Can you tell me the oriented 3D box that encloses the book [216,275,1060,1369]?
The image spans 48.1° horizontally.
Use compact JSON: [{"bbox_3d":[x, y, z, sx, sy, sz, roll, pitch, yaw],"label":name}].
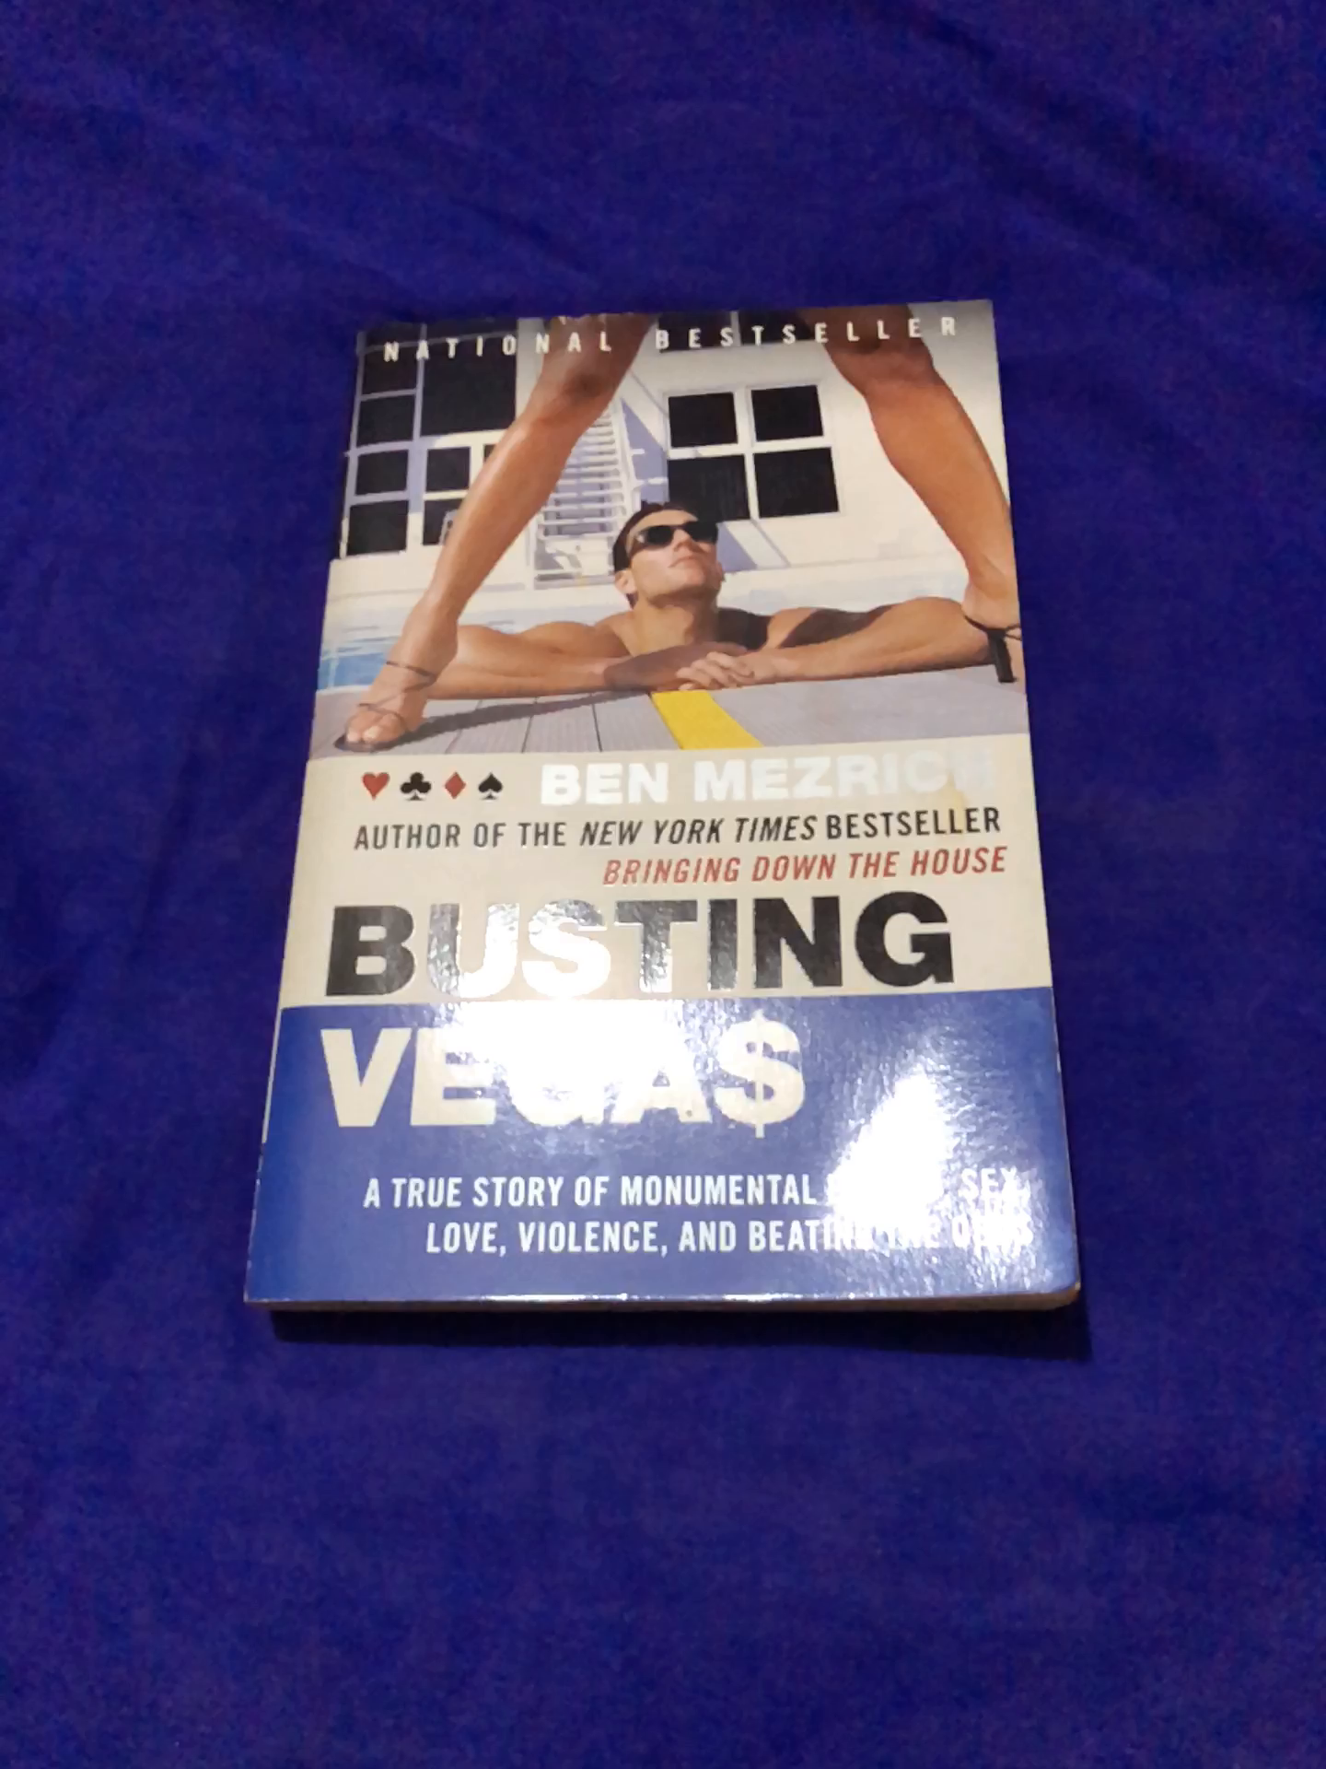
[{"bbox_3d":[-0.002,-0.019,0.287,0.130,0.040,0.210,-1,67,5],"label":"book"}]
